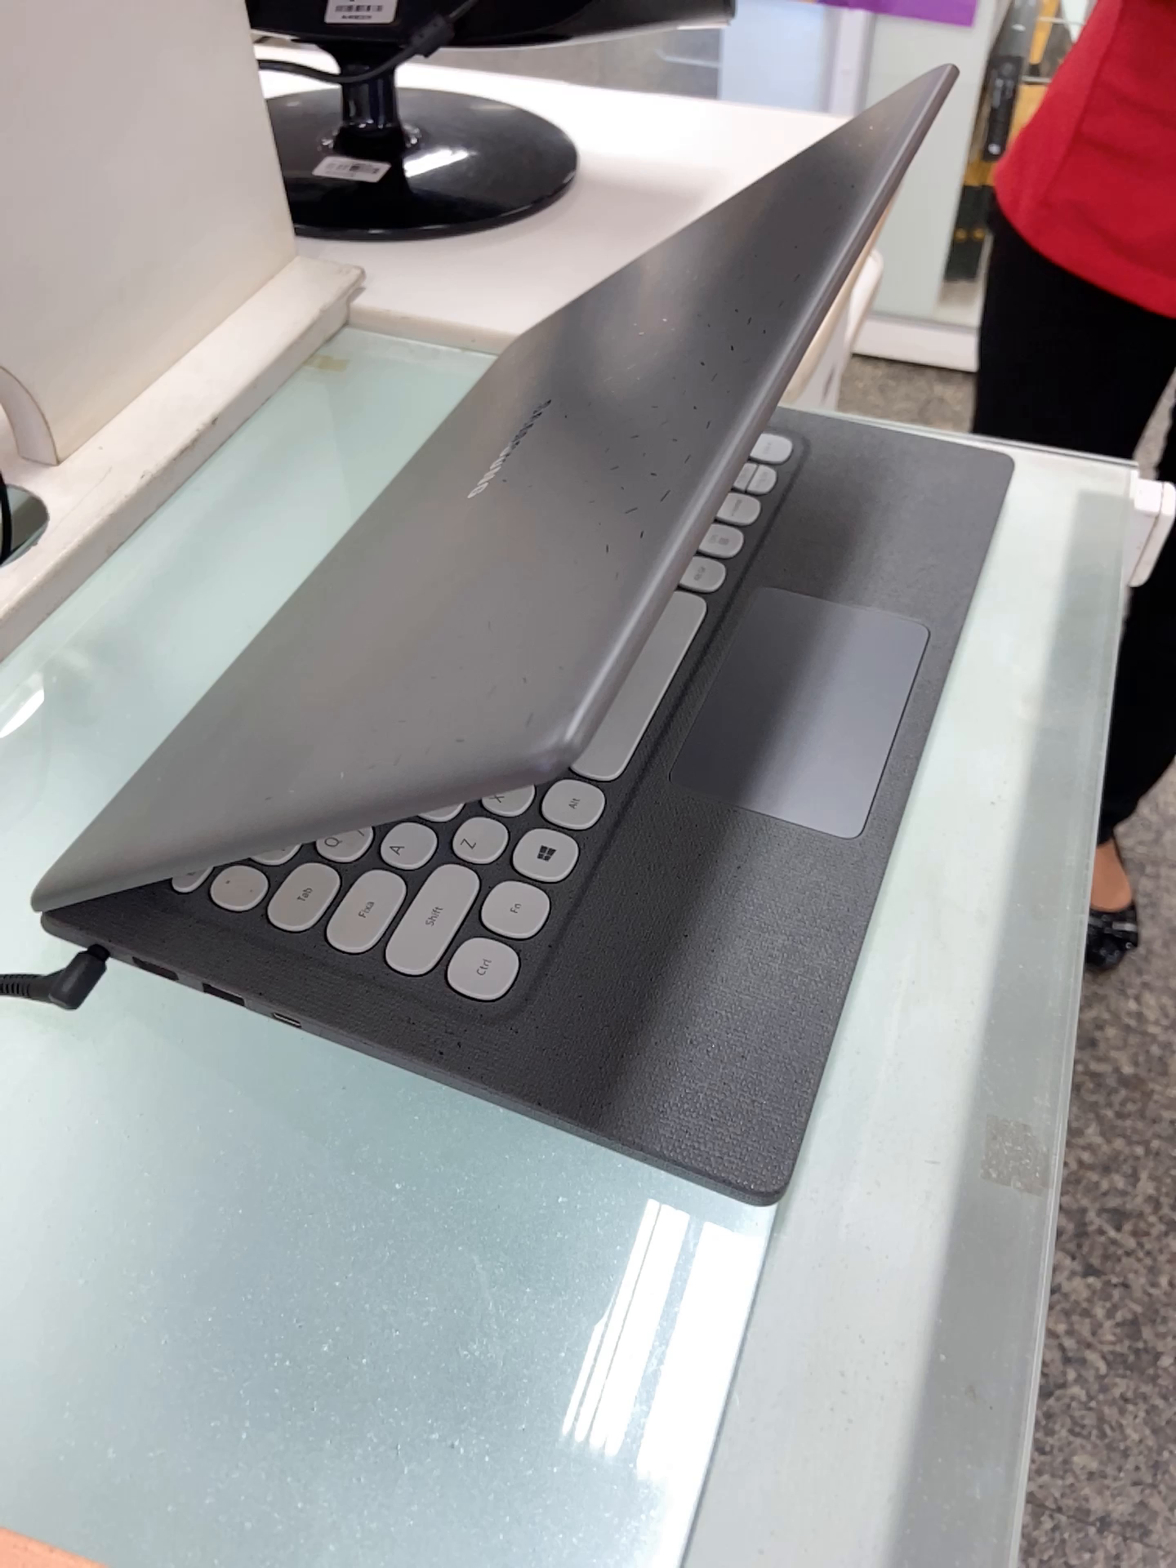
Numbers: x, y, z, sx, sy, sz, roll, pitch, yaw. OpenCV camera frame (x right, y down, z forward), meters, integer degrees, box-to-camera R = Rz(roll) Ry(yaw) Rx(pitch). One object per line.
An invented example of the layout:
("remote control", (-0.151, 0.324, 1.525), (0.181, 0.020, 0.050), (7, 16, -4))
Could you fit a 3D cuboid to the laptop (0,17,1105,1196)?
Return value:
("laptop", (0.005, -0.089, 0.356), (0.211, 0.132, 0.318), (16, 51, 15))
